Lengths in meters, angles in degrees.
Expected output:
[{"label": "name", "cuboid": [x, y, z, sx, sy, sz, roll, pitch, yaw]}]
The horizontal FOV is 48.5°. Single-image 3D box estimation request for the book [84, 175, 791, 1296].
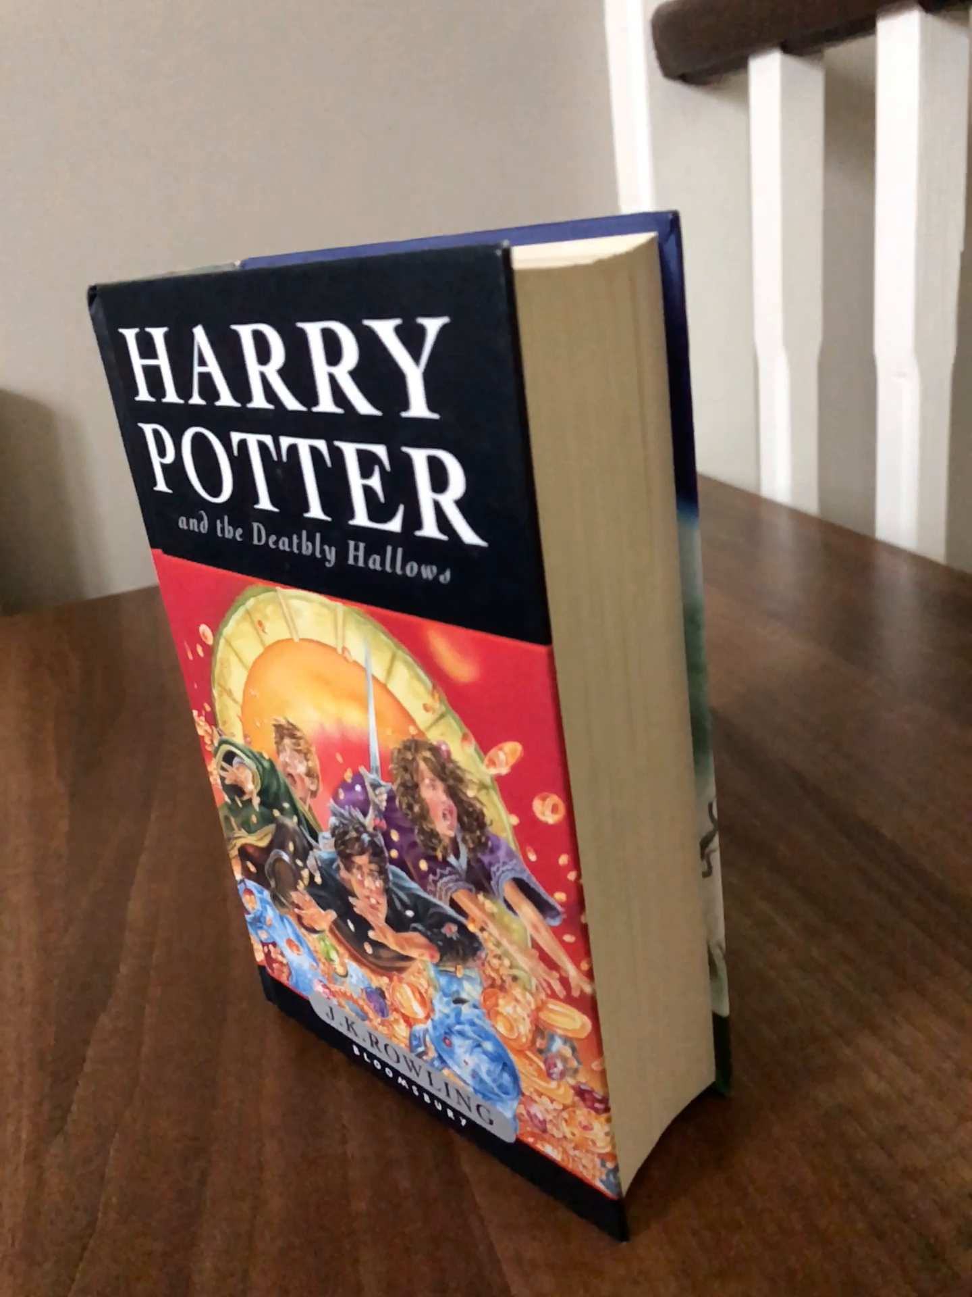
[{"label": "book", "cuboid": [-0.009, 0.013, 0.251, 0.060, 0.209, 0.140, -24, 27, -39]}]
